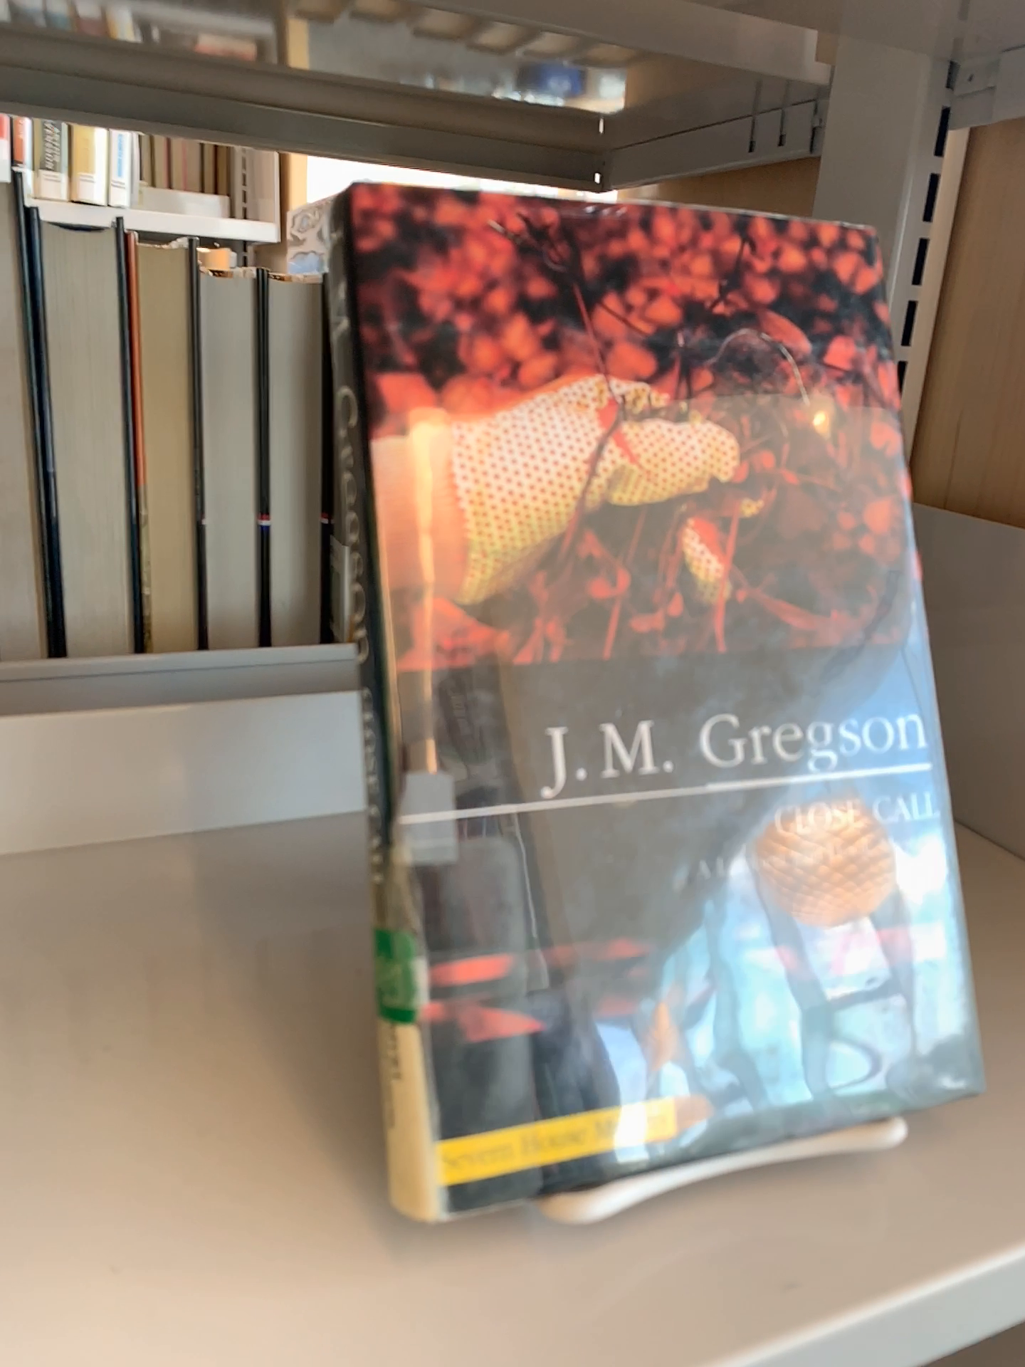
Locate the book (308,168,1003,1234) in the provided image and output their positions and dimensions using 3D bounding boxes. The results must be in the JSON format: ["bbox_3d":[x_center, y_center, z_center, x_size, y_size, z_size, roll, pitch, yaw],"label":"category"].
[{"bbox_3d":[0.033,-0.004,0.240,0.140,0.208,0.030,-3,-5,-19],"label":"book"}]
